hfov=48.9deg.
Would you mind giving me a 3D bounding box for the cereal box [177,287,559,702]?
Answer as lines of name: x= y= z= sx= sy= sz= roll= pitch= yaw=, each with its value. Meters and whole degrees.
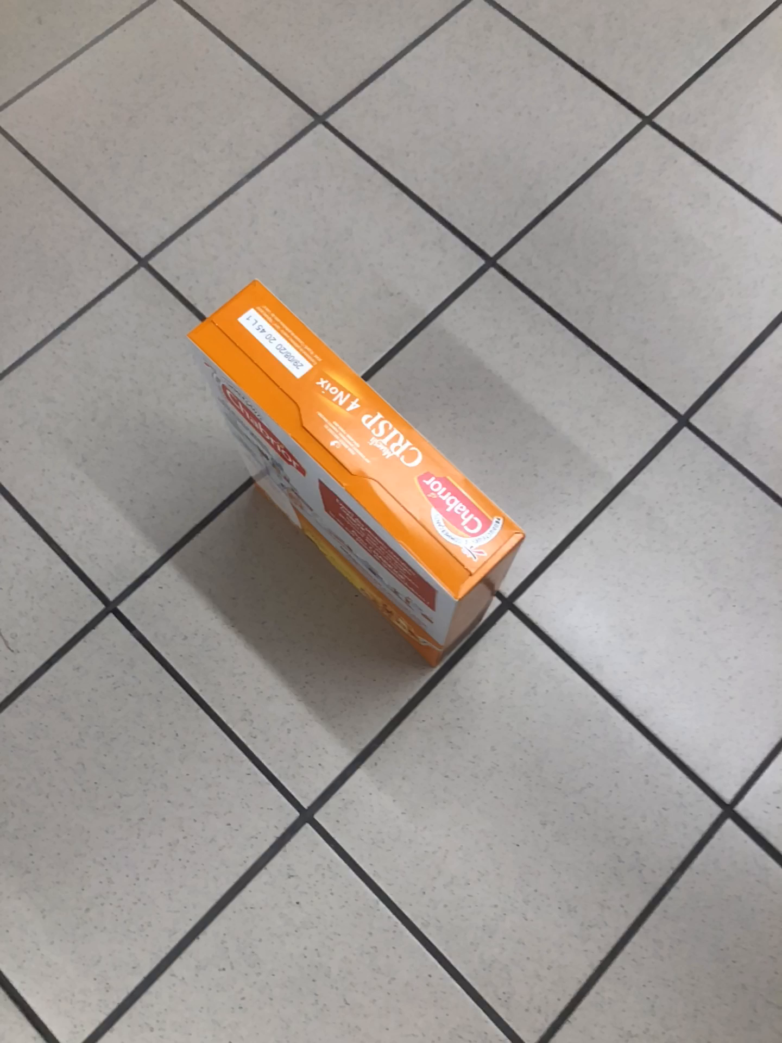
cereal box: x=-0.015 y=0.002 z=0.514 sx=0.060 sy=0.220 sz=0.200 roll=-43 pitch=77 yaw=-13
